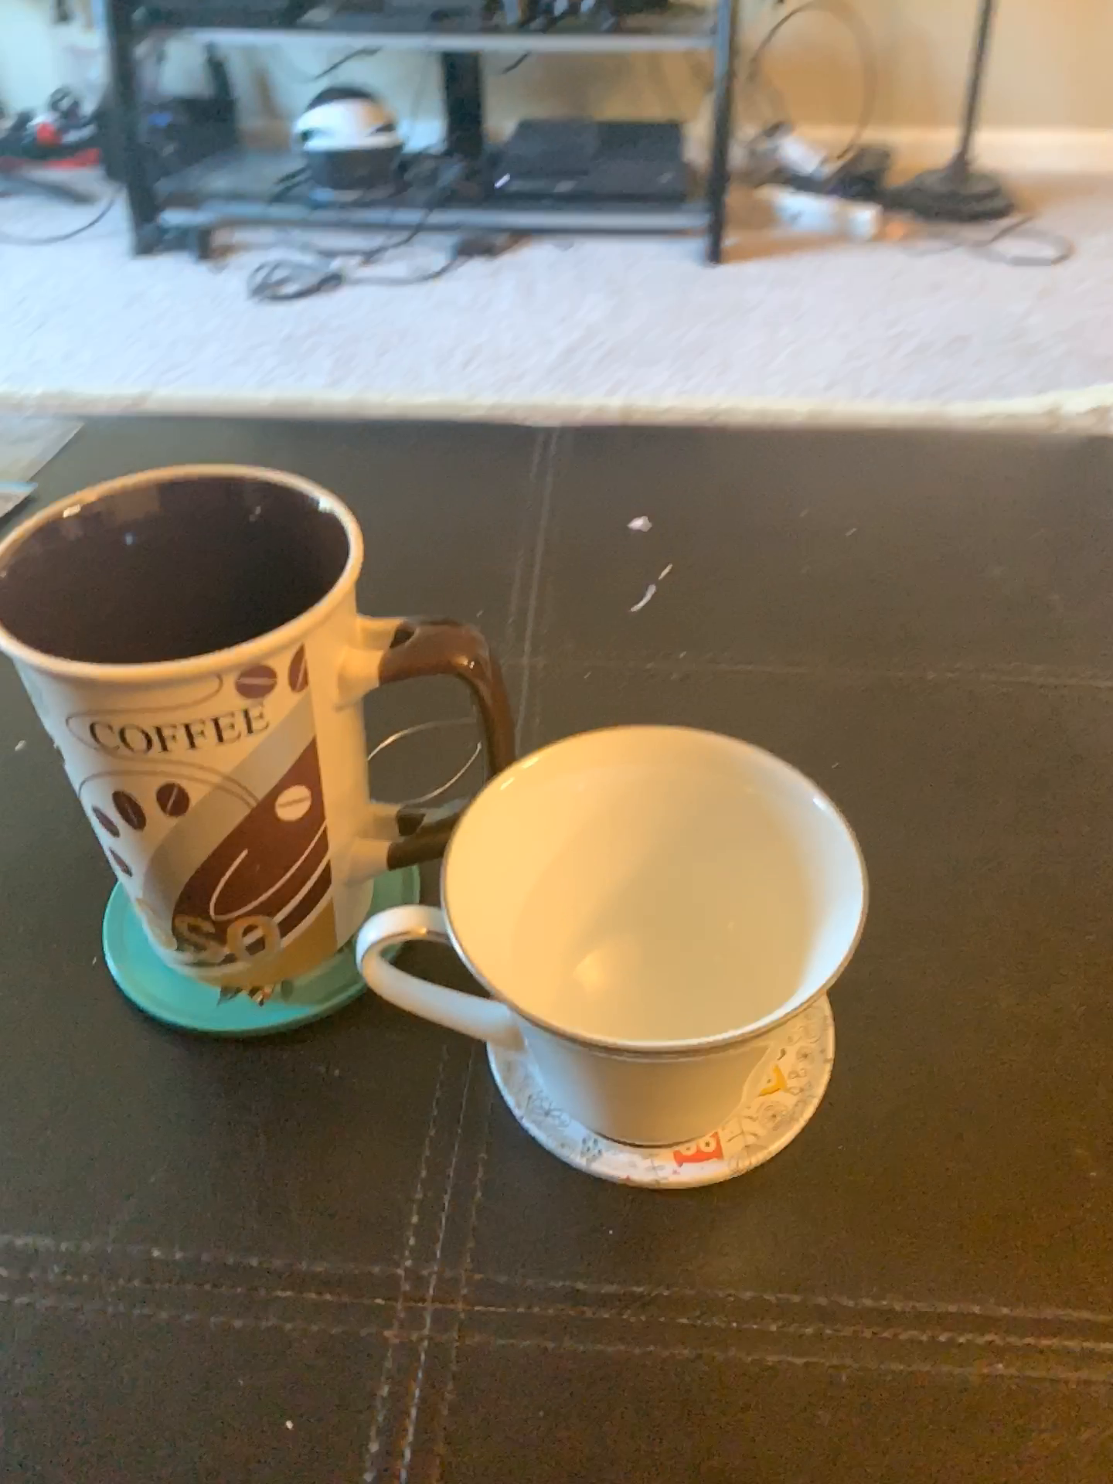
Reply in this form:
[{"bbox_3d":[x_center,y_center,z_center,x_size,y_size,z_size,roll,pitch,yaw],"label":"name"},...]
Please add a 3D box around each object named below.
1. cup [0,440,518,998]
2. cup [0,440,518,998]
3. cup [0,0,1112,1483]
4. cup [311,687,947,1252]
[{"bbox_3d":[-0.077,-0.006,0.294,0.120,0.109,0.080,4,41,6],"label":"cup"},{"bbox_3d":[-0.077,-0.006,0.294,0.120,0.109,0.080,4,41,6],"label":"cup"},{"bbox_3d":[-0.077,-0.006,0.294,39.268,9.441,0.299,4,41,6],"label":"cup"},{"bbox_3d":[0.010,0.047,0.254,0.110,0.070,0.091,-4,41,-3],"label":"cup"}]
